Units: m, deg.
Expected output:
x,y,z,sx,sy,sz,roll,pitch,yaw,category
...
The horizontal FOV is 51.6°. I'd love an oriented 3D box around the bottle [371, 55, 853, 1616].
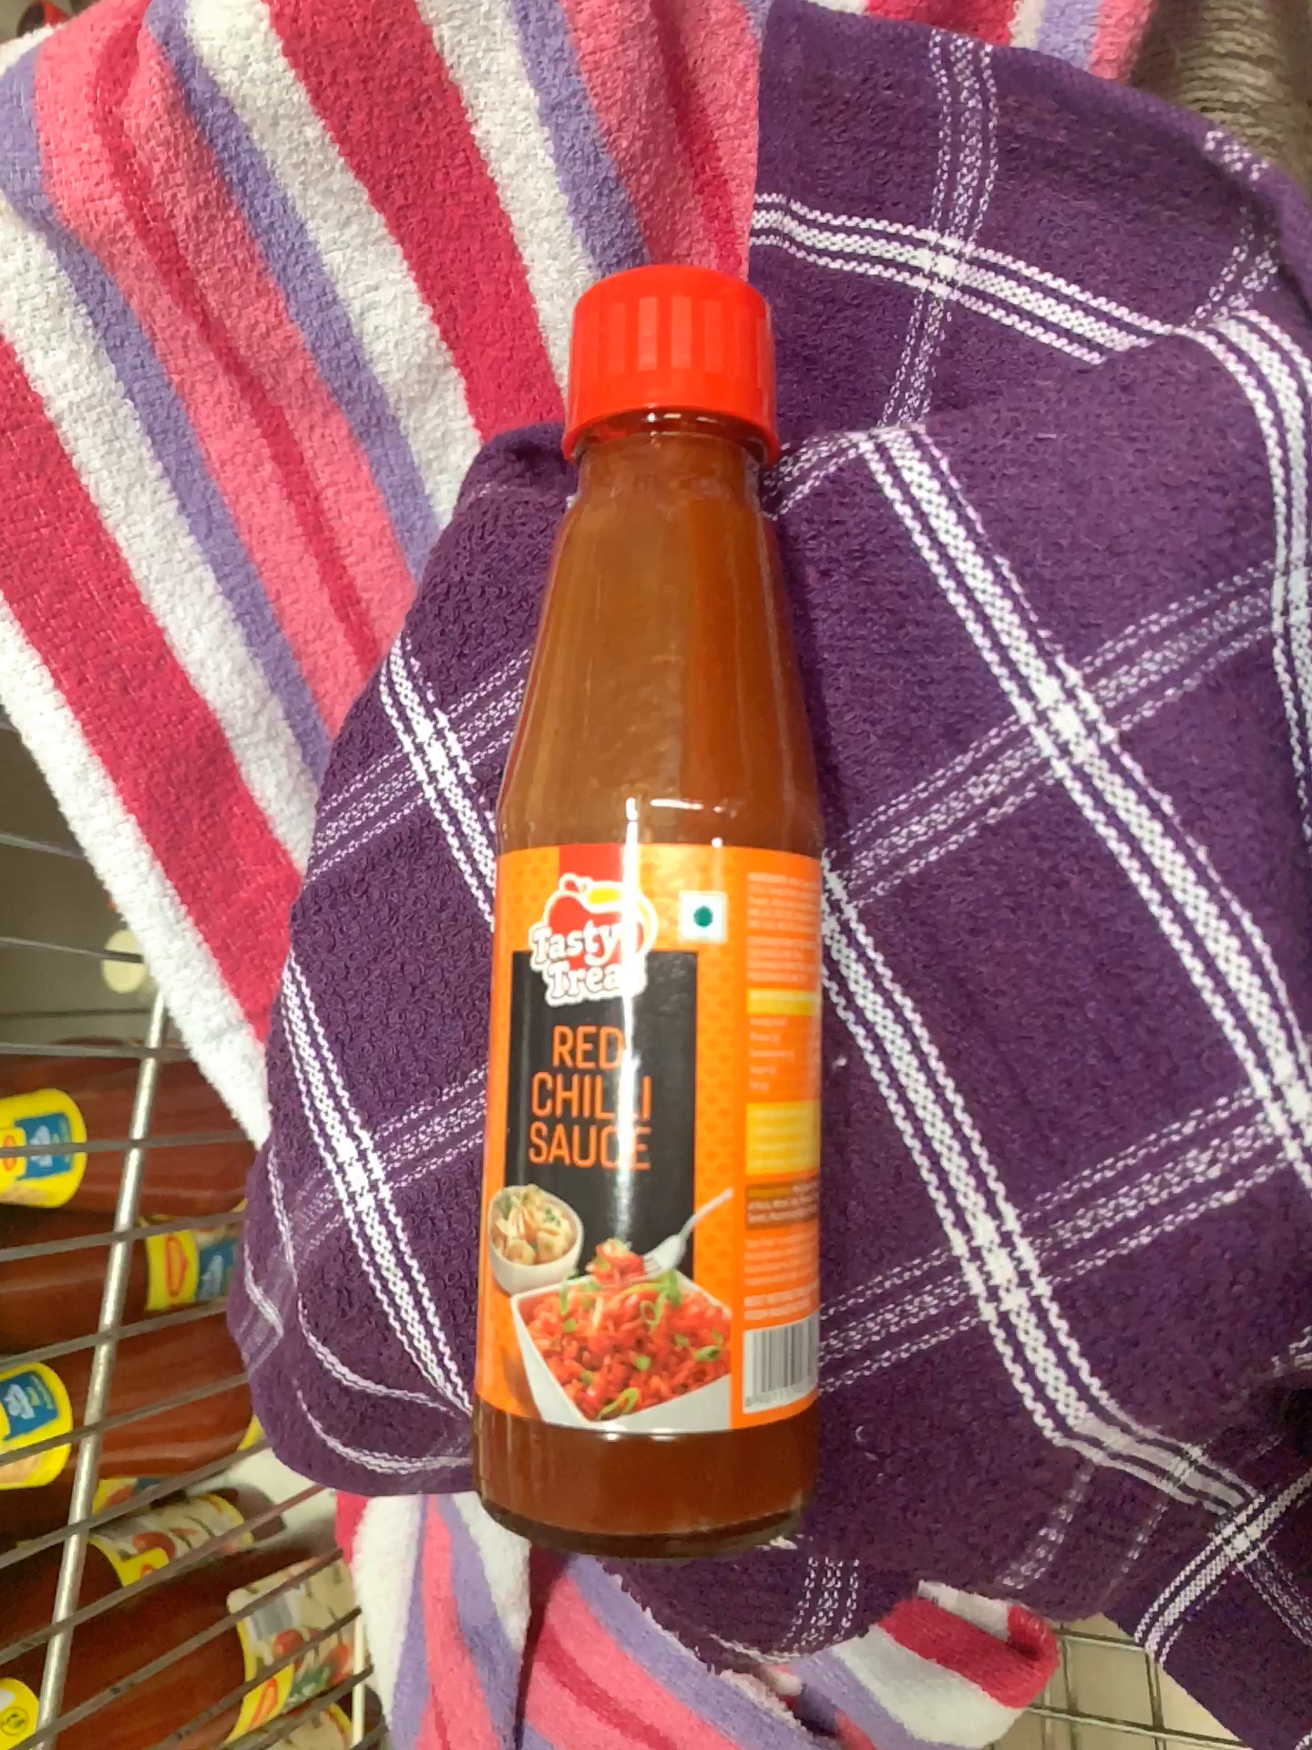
x,y,z,sx,sy,sz,roll,pitch,yaw,category
-0.006,-0.006,0.185,0.050,0.040,0.180,-3,85,29,bottle
